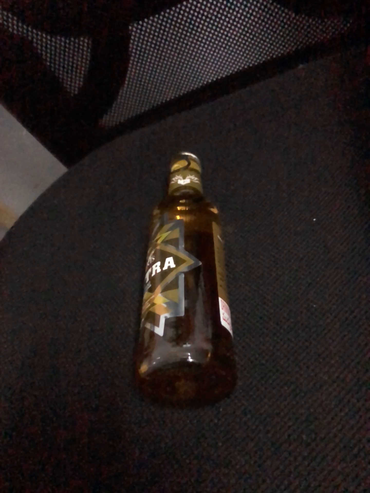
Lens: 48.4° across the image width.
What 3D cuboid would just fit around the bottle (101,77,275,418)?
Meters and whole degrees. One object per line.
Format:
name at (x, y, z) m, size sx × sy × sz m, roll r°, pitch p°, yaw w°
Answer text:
bottle at (-0.004, -0.014, 0.286) m, size 0.070 × 0.060 × 0.231 m, roll -24°, pitch 48°, yaw 24°
